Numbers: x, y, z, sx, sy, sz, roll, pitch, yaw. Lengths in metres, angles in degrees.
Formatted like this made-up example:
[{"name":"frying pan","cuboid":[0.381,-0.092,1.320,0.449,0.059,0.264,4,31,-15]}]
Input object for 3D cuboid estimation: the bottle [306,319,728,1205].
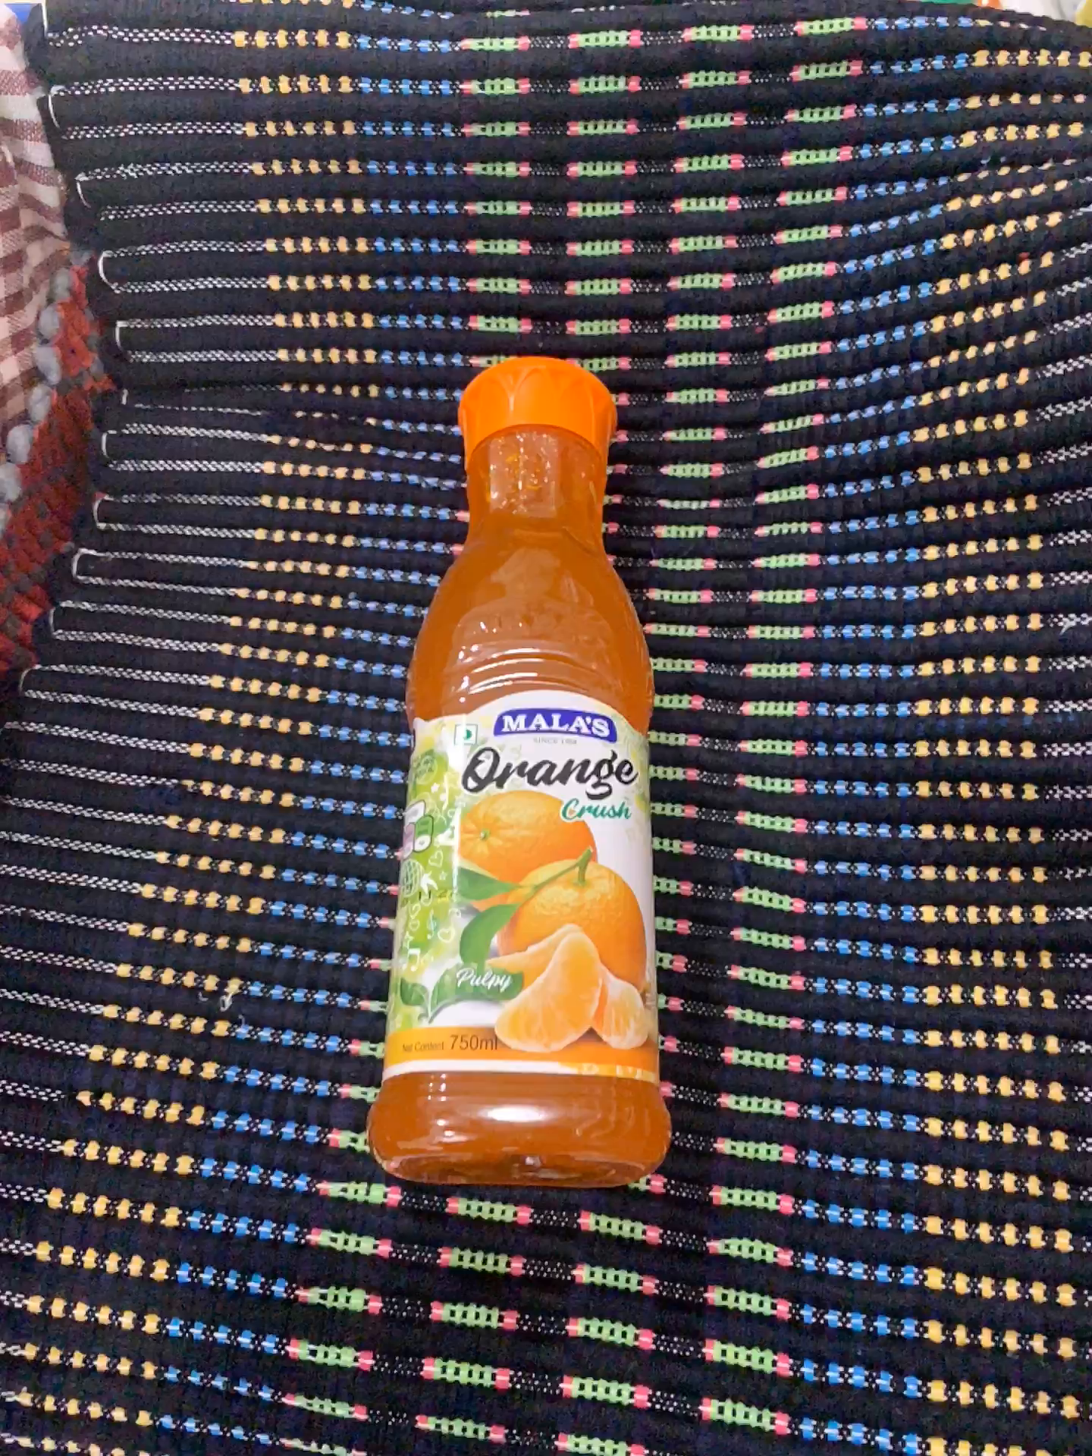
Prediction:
[{"name":"bottle","cuboid":[-0.003,0.002,0.303,0.080,0.080,0.220,4,61,-2]}]
